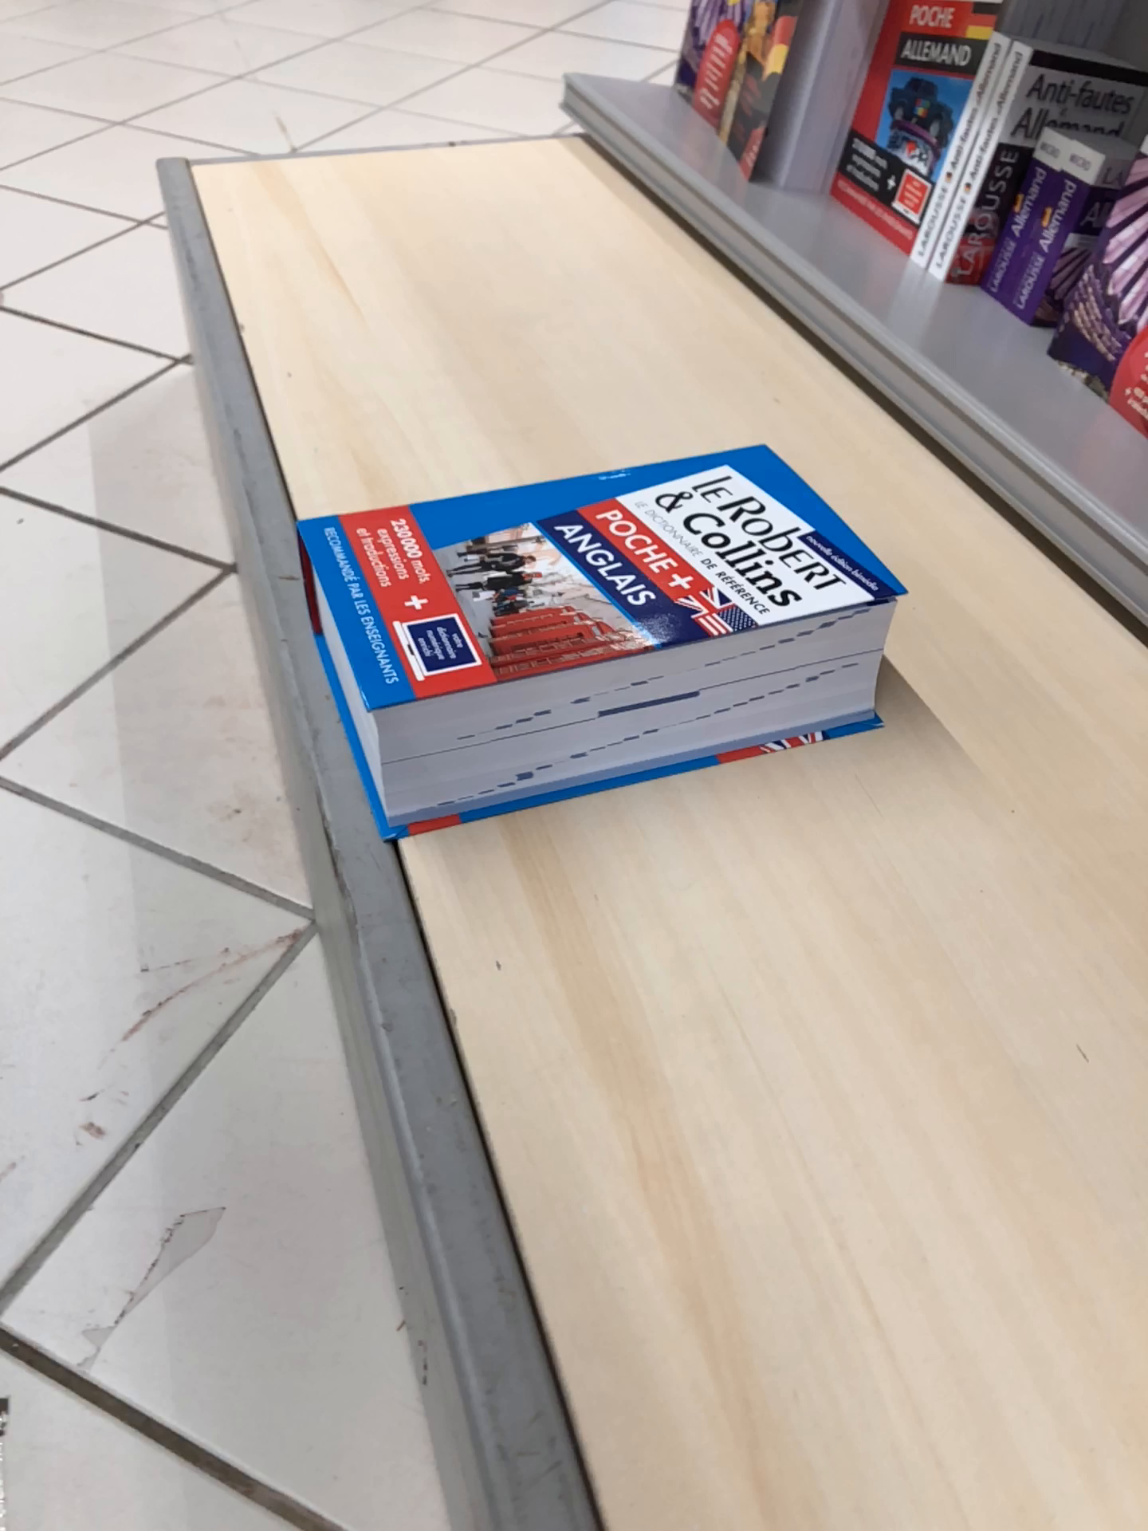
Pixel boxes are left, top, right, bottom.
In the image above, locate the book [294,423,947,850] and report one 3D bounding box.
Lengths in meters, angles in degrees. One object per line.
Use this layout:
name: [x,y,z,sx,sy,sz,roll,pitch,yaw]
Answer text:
book: [0.010,-0.053,0.438,0.184,0.051,0.129,-13,43,-14]
